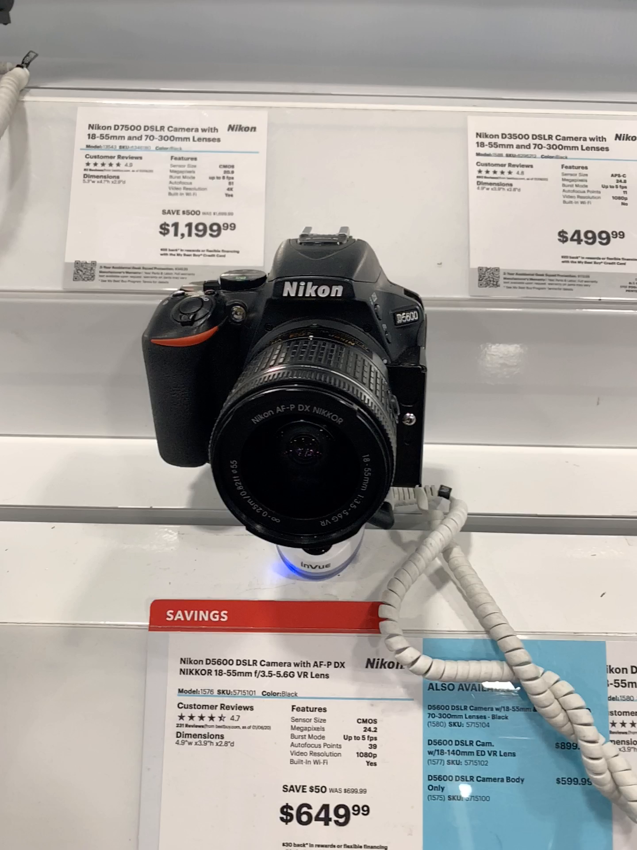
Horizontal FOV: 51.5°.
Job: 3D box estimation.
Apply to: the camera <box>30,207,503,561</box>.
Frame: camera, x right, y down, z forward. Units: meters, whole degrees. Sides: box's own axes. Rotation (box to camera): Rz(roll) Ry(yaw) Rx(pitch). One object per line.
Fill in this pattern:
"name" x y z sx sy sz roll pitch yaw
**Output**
"camera" -0.012 -0.025 0.254 0.130 0.090 0.121 2 28 3
